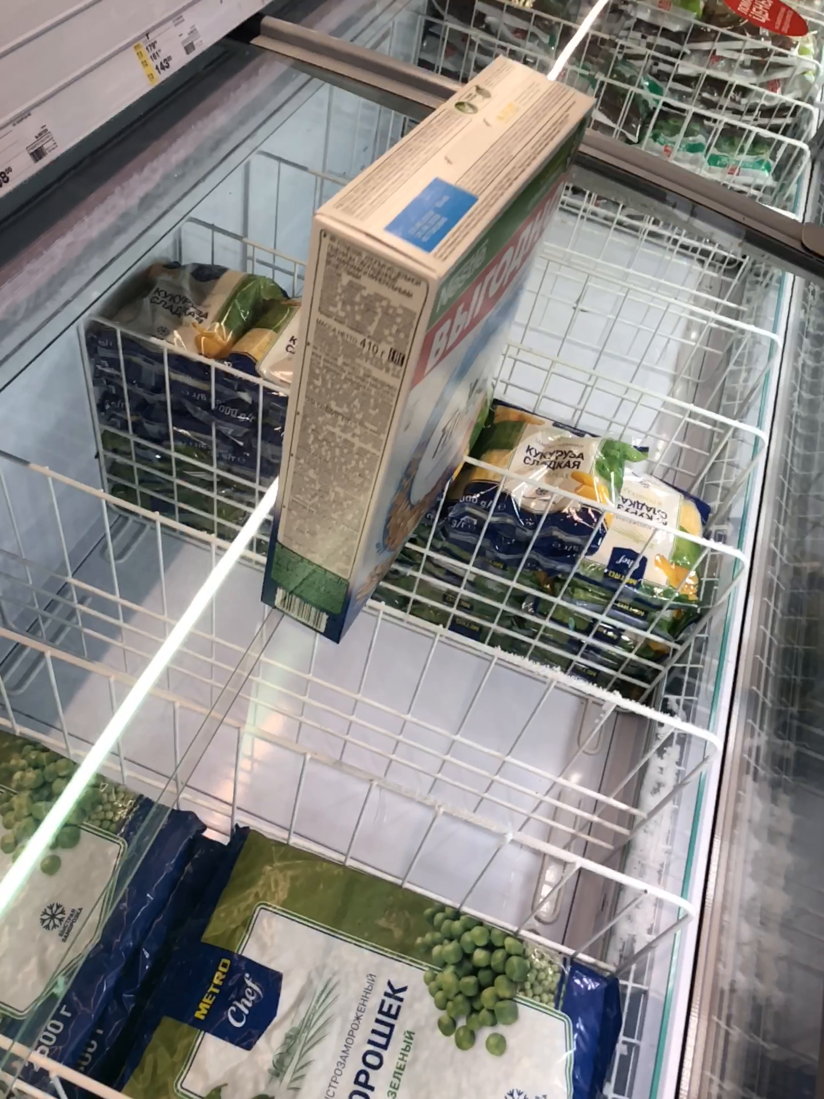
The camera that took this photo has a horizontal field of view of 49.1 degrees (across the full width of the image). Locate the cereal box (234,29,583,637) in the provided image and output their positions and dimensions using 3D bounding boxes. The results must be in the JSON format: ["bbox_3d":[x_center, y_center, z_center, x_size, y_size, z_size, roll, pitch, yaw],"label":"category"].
[{"bbox_3d":[-0.011,-0.107,0.502,0.060,0.268,0.201,28,52,7],"label":"cereal box"}]
